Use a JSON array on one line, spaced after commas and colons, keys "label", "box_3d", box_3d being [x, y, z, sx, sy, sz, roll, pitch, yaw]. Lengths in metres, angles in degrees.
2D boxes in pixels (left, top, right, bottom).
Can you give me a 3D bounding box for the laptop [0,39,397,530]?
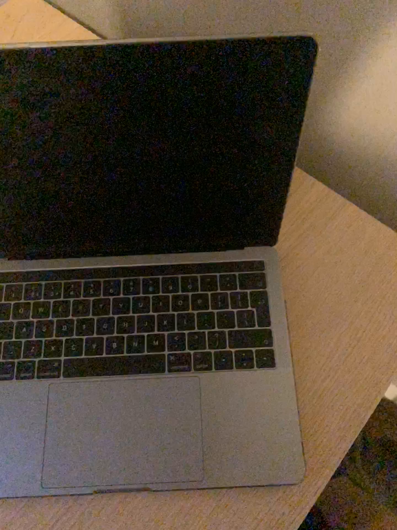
[{"label": "laptop", "box_3d": [-0.069, 0.029, 0.290, 0.294, 0.198, 0.257, -3, 69, 1]}]
